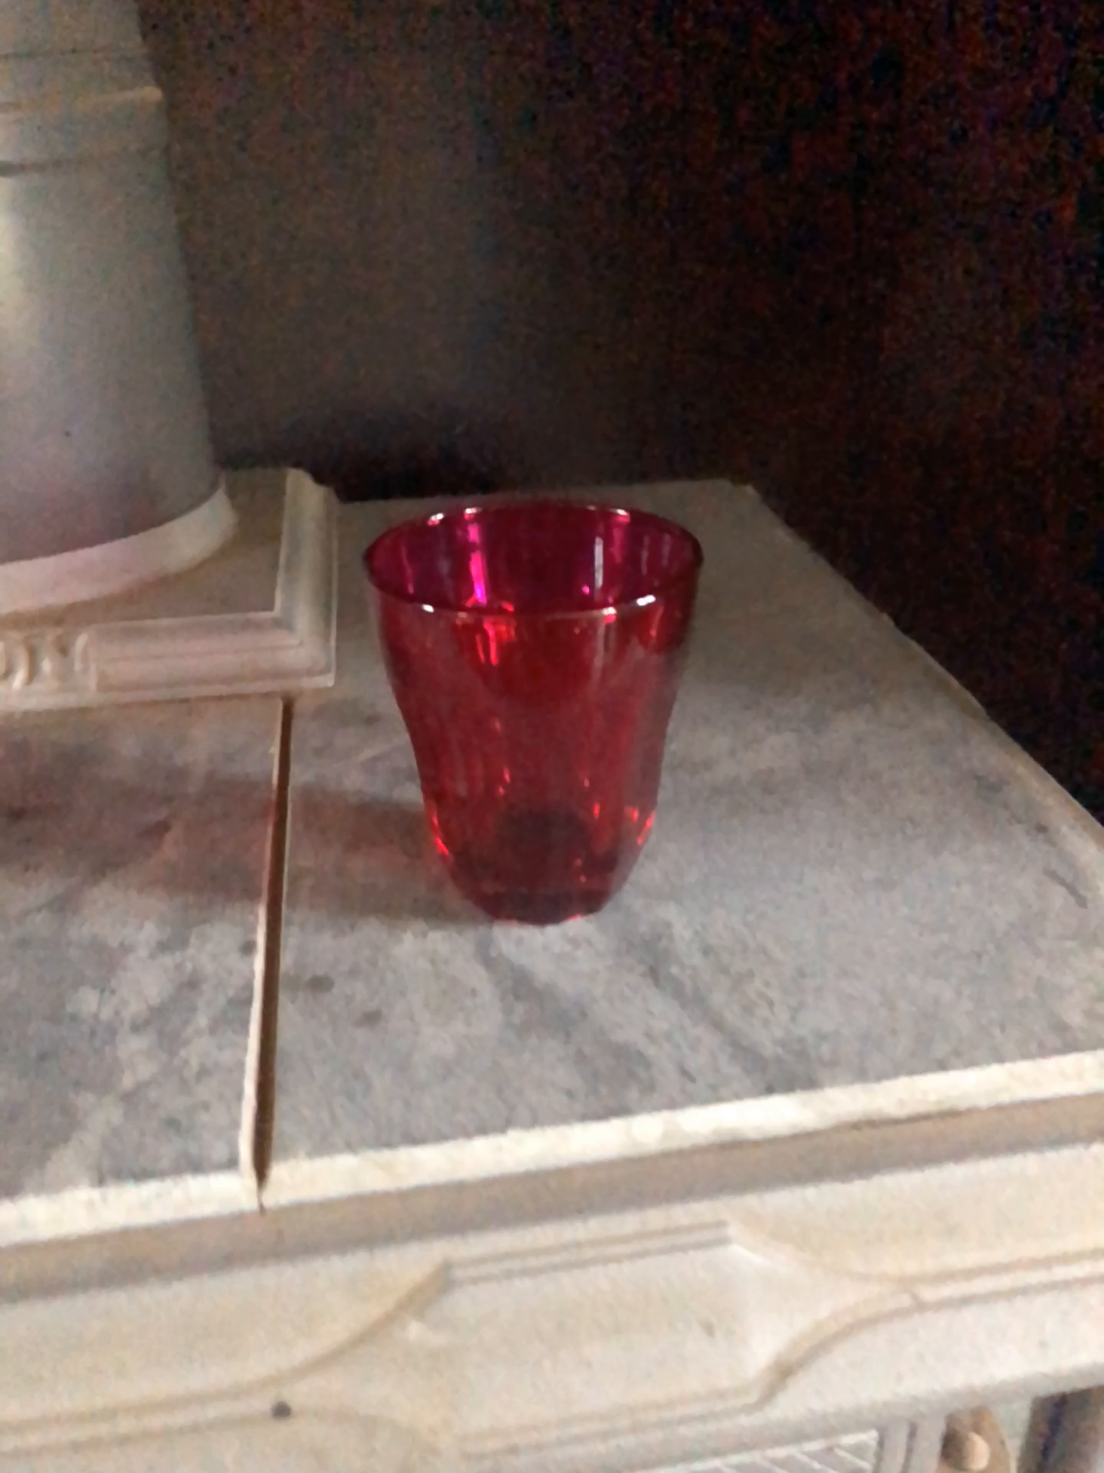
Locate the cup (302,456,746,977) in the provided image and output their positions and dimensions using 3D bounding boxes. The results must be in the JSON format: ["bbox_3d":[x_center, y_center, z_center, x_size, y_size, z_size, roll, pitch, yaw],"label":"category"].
[{"bbox_3d":[-0.009,-0.010,0.276,0.070,0.080,0.080,-12,30,-19],"label":"cup"}]
